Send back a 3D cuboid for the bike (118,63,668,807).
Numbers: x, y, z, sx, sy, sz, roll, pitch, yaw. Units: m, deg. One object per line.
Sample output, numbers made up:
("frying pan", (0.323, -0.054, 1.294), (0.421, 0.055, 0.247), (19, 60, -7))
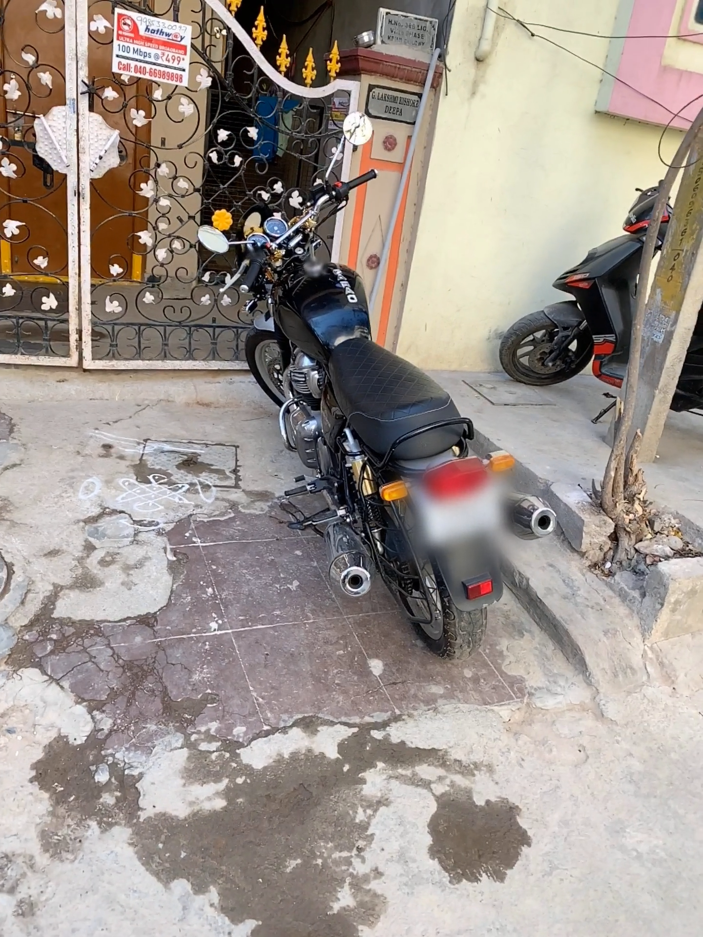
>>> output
("bike", (-0.180, -0.334, 2.424), (0.791, 1.522, 1.910), (-4, 31, -28))
